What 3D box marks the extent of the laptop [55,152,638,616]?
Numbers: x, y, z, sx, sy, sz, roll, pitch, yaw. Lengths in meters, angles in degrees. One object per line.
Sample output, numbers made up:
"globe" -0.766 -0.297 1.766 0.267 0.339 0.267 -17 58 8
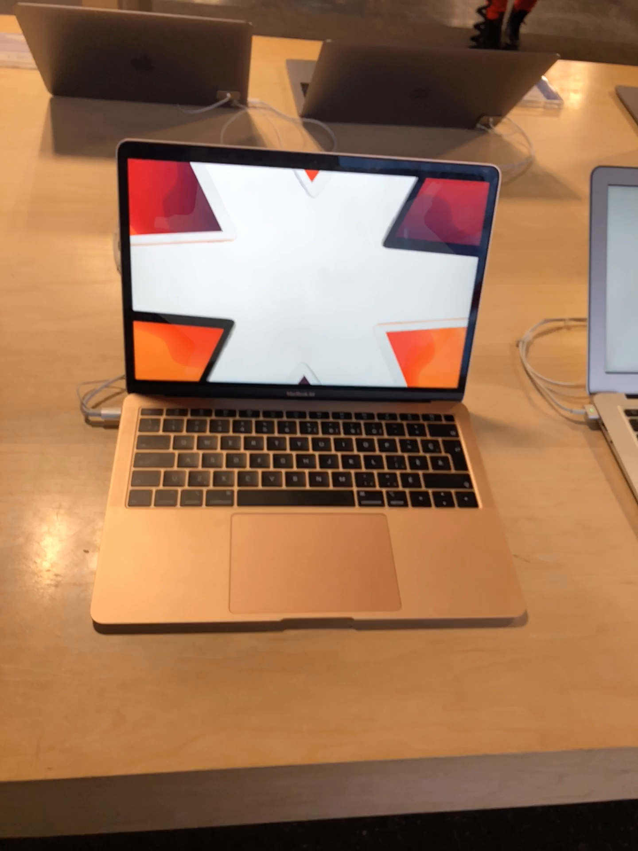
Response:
"laptop" 0.003 -0.037 0.512 0.291 0.183 0.285 1 45 -6
